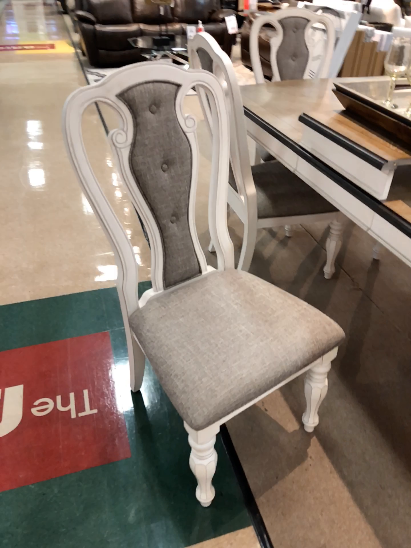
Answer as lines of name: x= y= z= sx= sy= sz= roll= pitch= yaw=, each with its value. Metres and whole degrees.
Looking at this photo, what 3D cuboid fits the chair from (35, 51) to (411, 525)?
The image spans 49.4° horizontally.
chair: x=0.006 y=0.003 z=1.256 sx=0.551 sy=1.013 sz=0.674 roll=-21 pitch=40 yaw=-28
